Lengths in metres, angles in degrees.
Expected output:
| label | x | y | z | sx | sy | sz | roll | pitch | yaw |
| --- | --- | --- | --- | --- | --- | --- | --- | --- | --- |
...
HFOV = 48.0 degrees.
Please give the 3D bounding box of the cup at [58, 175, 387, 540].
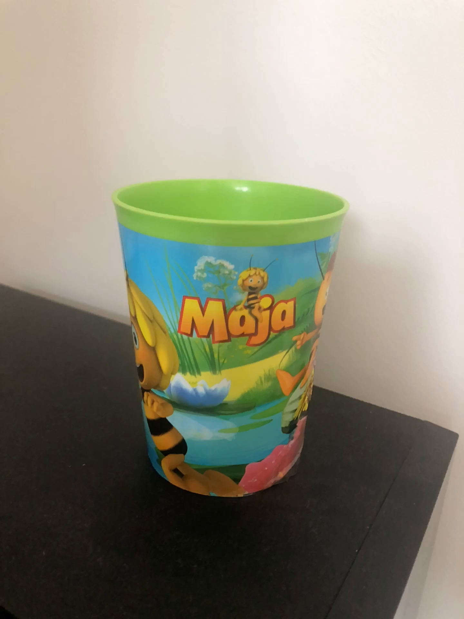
| label | x | y | z | sx | sy | sz | roll | pitch | yaw |
| --- | --- | --- | --- | --- | --- | --- | --- | --- | --- |
| cup | 0.000 | 0.005 | 0.187 | 0.080 | 0.090 | 0.081 | 2 | 21 | -1 |
